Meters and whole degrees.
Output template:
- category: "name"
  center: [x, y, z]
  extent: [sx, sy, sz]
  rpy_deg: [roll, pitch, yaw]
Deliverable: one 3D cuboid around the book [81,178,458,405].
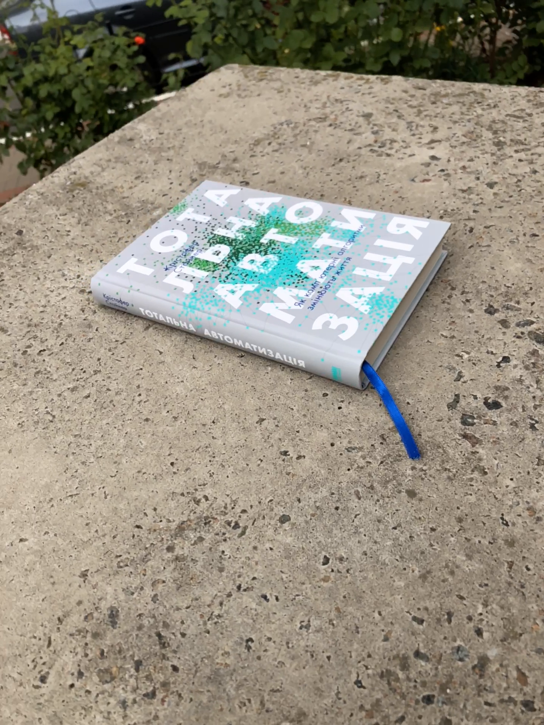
- category: "book"
  center: [-0.002, -0.067, 0.434]
  extent: [0.221, 0.030, 0.157]
  rpy_deg: [17, 52, 27]
